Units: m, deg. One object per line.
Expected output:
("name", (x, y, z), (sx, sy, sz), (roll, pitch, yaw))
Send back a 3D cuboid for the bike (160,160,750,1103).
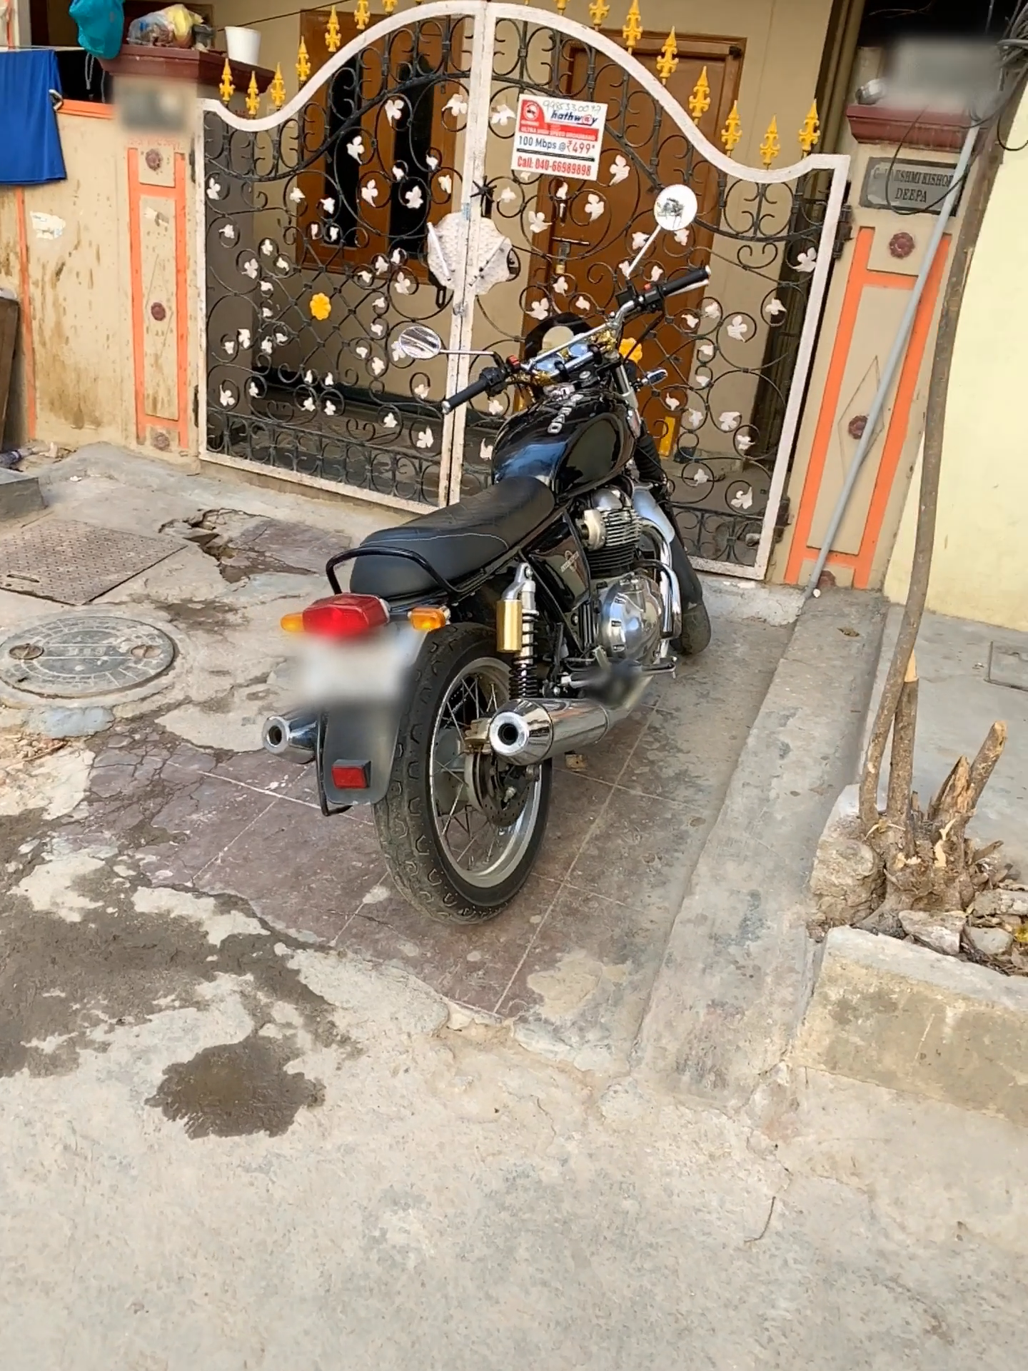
("bike", (-0.018, -0.414, 2.676), (0.791, 1.522, 1.913), (12, 28, 12))
